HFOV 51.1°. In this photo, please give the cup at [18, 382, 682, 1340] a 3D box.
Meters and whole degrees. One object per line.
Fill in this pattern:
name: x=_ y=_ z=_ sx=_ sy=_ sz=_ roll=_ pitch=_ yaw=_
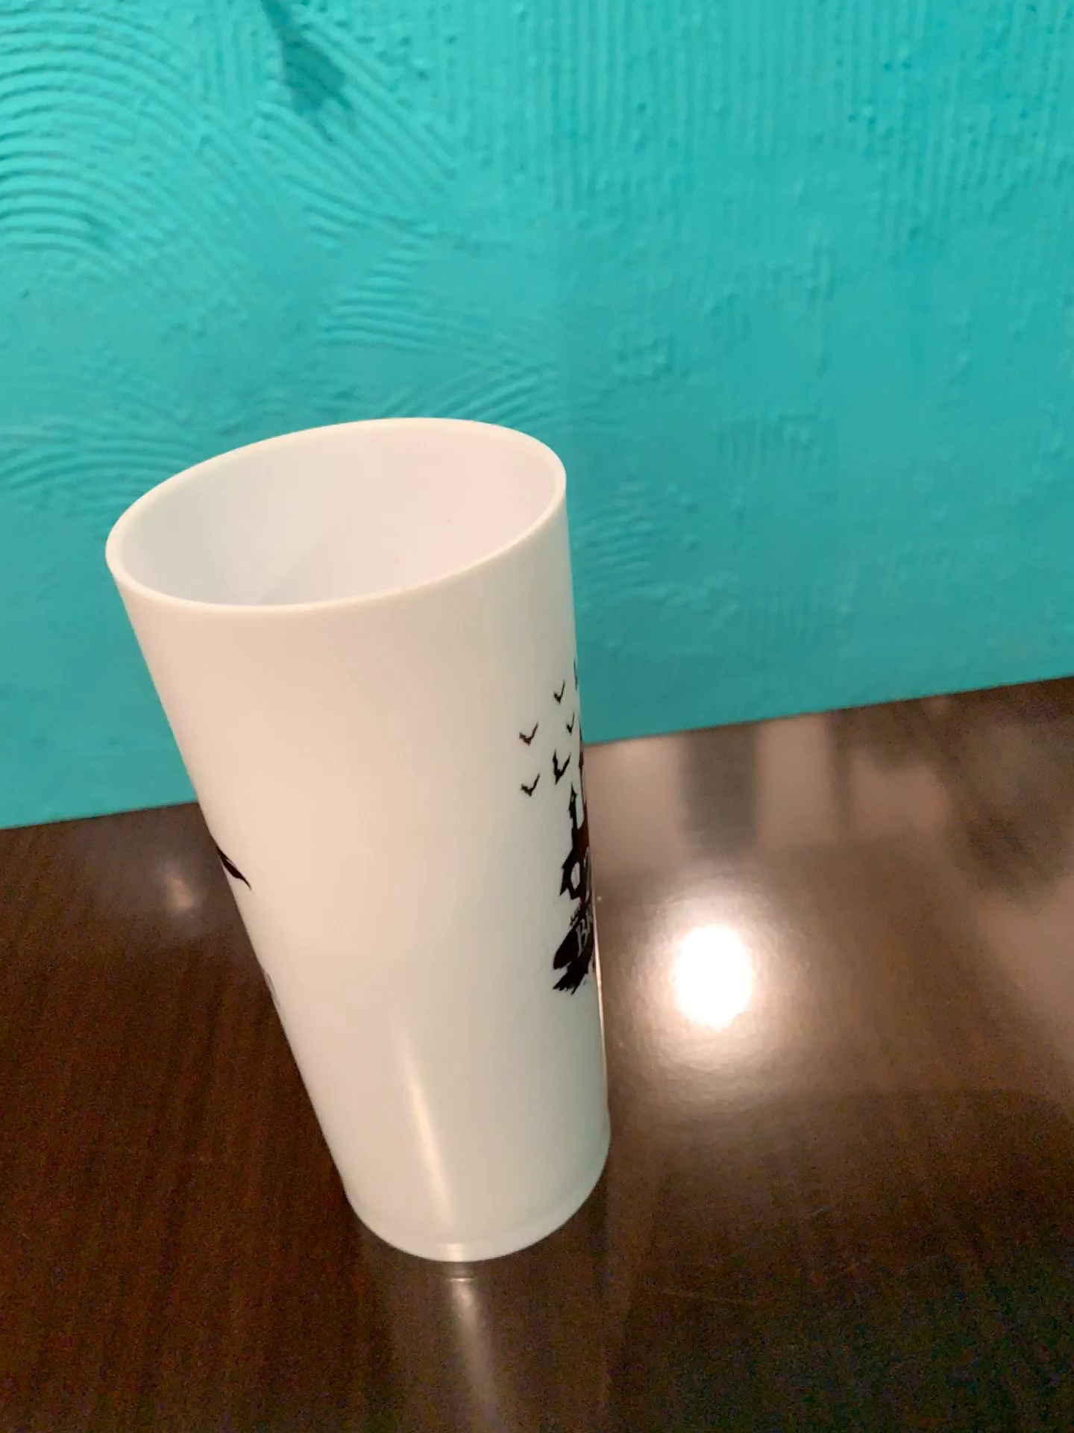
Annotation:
cup: x=-0.018 y=0.031 z=0.196 sx=0.070 sy=0.149 sz=0.070 roll=-5 pitch=34 yaw=3
